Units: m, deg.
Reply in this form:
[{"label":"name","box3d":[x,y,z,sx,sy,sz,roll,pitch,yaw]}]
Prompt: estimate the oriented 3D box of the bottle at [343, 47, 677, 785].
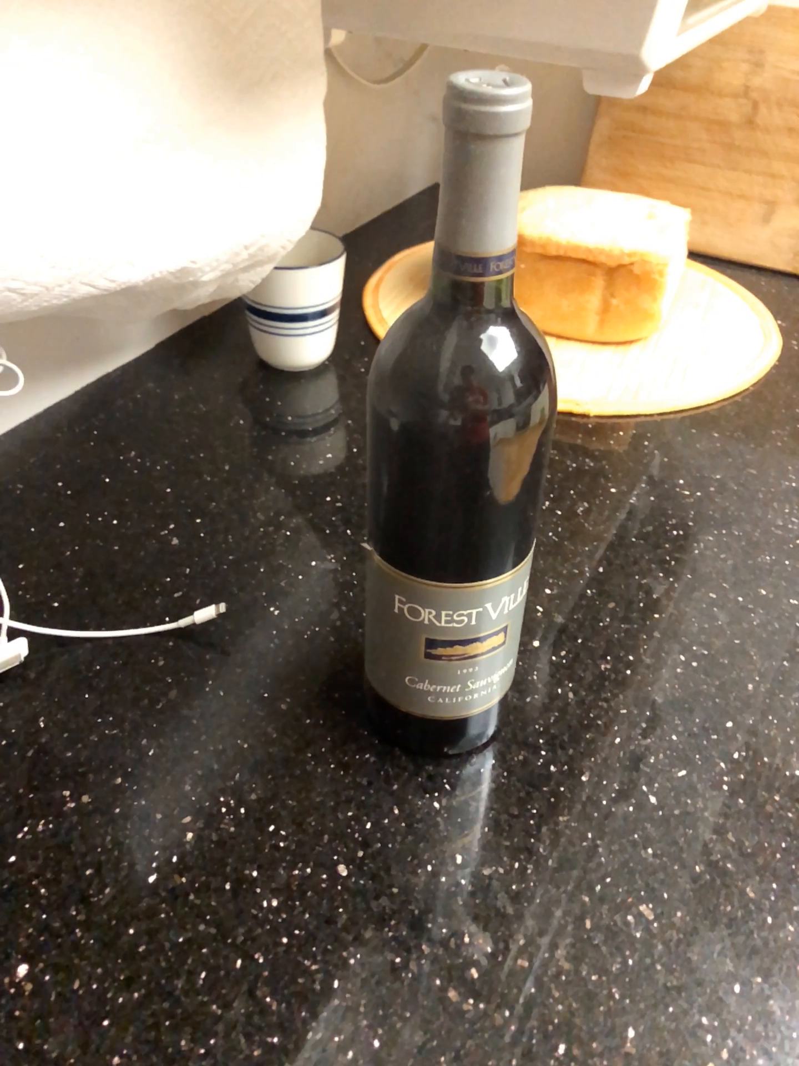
[{"label":"bottle","box3d":[0.025,-0.028,0.372,0.080,0.298,0.090,-7,40,-12]}]
